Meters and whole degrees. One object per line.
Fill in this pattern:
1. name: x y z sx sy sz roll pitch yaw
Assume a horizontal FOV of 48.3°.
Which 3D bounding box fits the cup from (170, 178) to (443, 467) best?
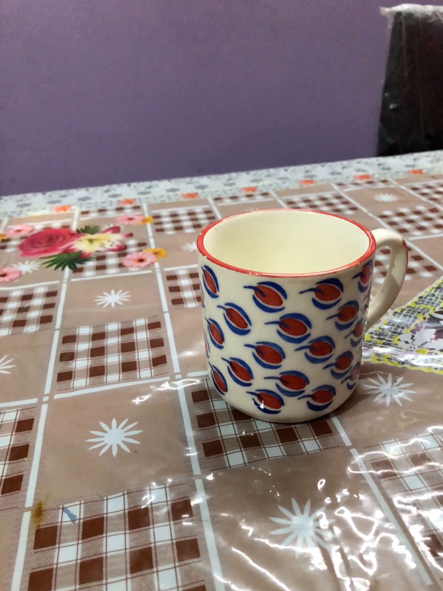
1. cup: 0.045 0.003 0.229 0.110 0.079 0.080 -14 31 -20
